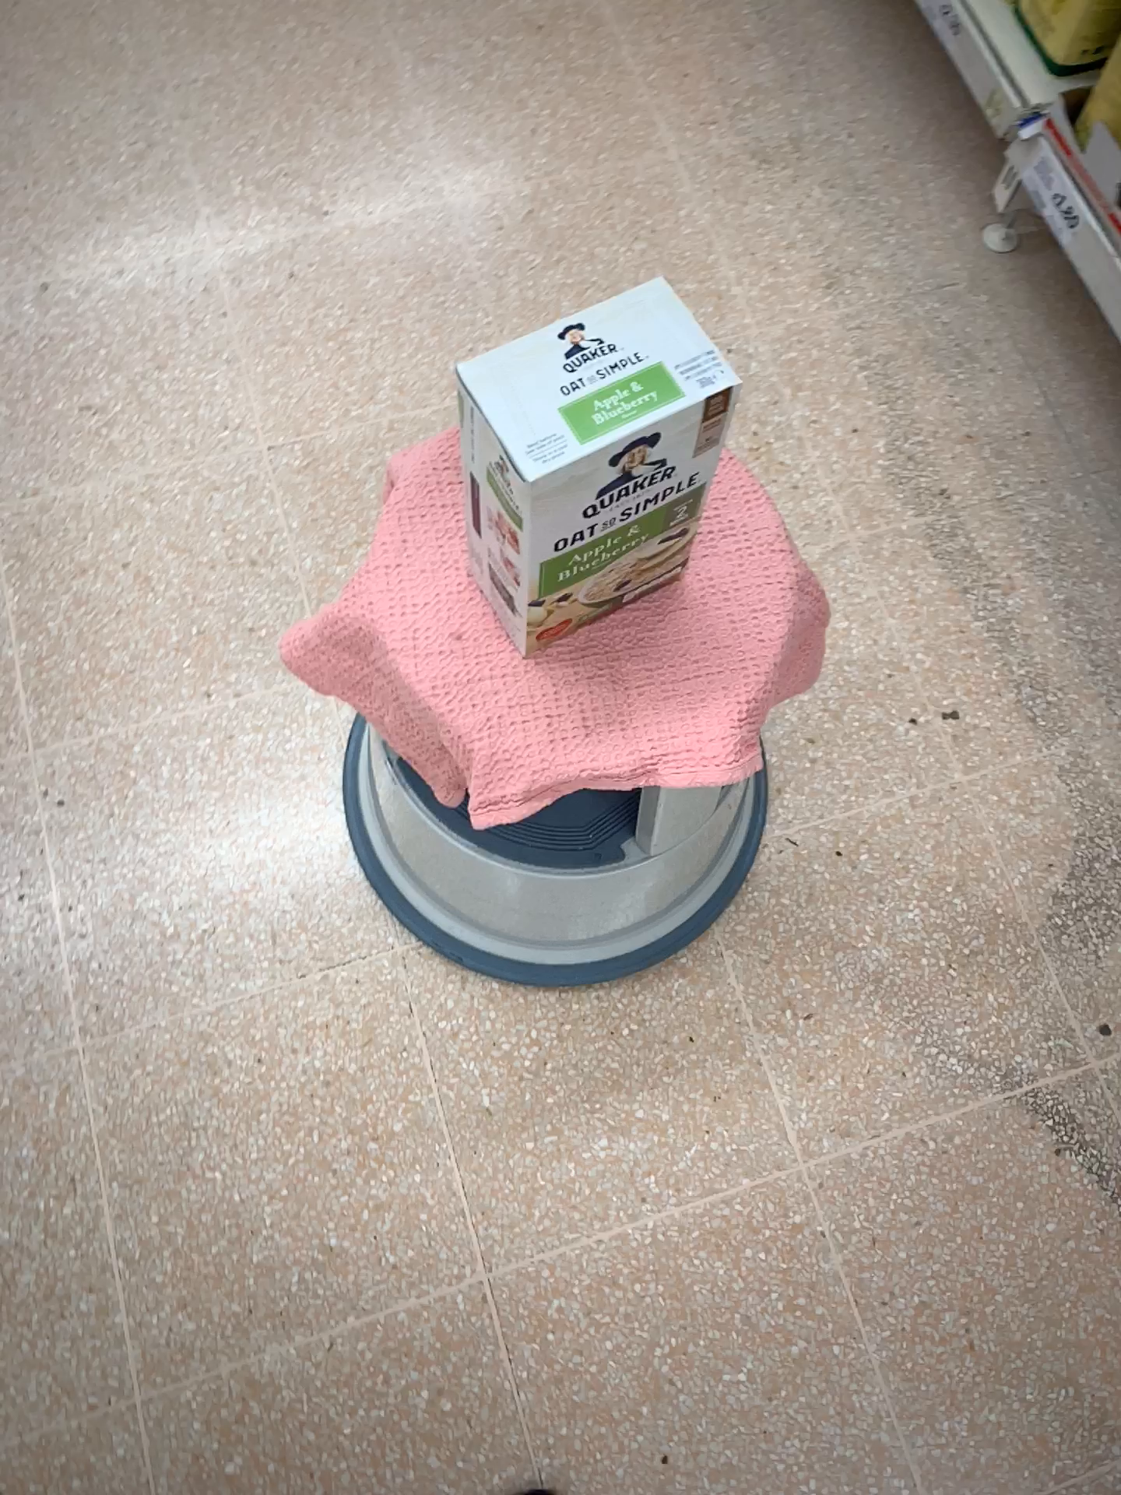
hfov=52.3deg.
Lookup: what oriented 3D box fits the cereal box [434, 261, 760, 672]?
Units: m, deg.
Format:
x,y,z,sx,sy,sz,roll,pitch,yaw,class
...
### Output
x,y,z,sx,sy,sz,roll,pitch,yaw,class
0.015,-0.154,0.679,0.140,0.209,0.090,-27,73,-12,cereal box
